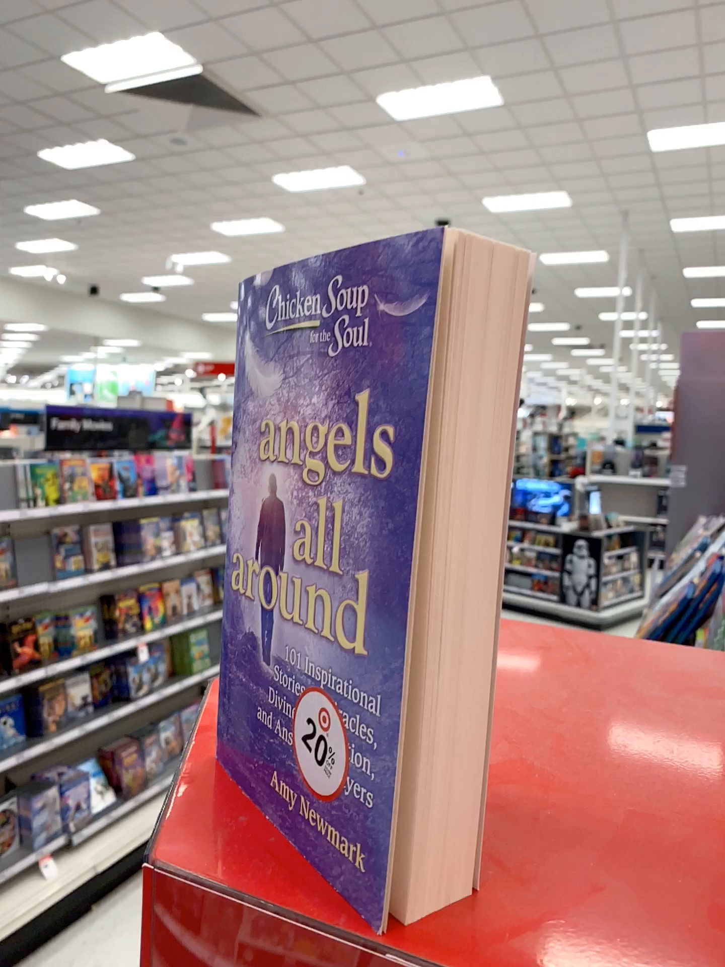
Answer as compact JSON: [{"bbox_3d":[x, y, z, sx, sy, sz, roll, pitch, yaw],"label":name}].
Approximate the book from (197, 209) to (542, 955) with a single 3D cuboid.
[{"bbox_3d":[-0.009,0.024,0.282,0.041,0.211,0.142,4,2,-32],"label":"book"}]
